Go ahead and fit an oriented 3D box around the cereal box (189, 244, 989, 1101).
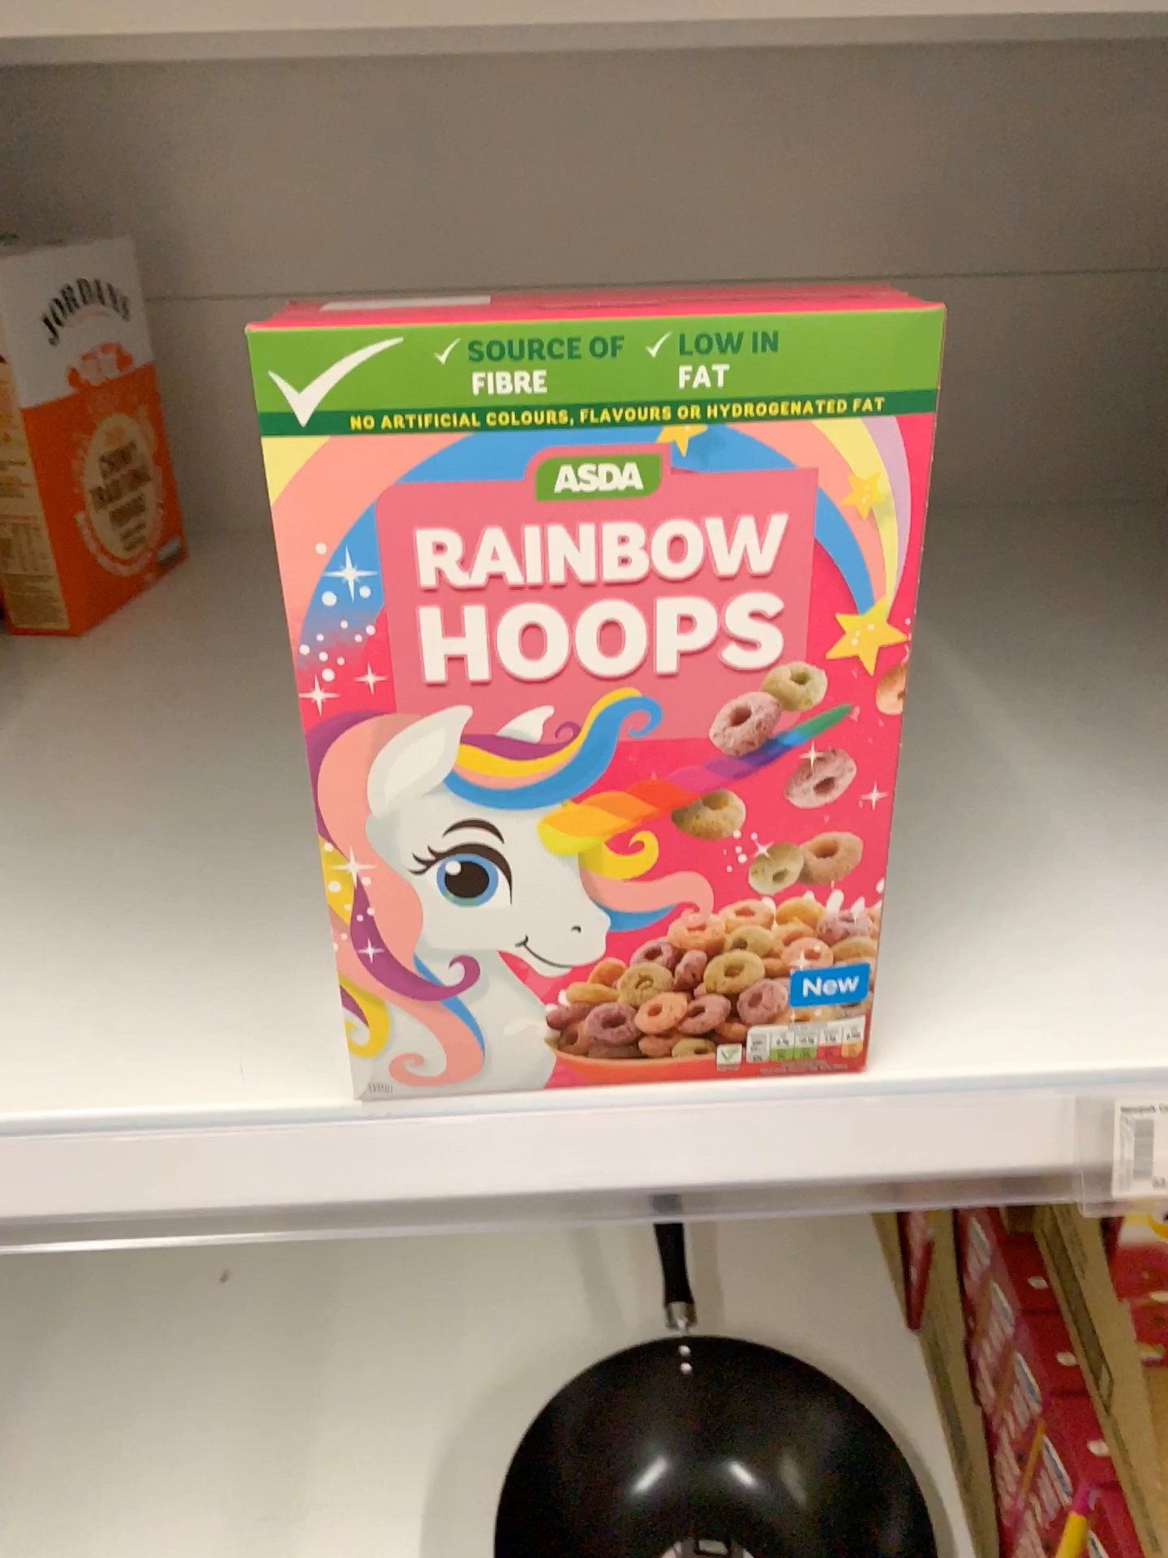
[{"bbox_3d":[0.004,-0.024,0.407,0.210,0.277,0.061,-3,28,-2],"label":"cereal box"}]
